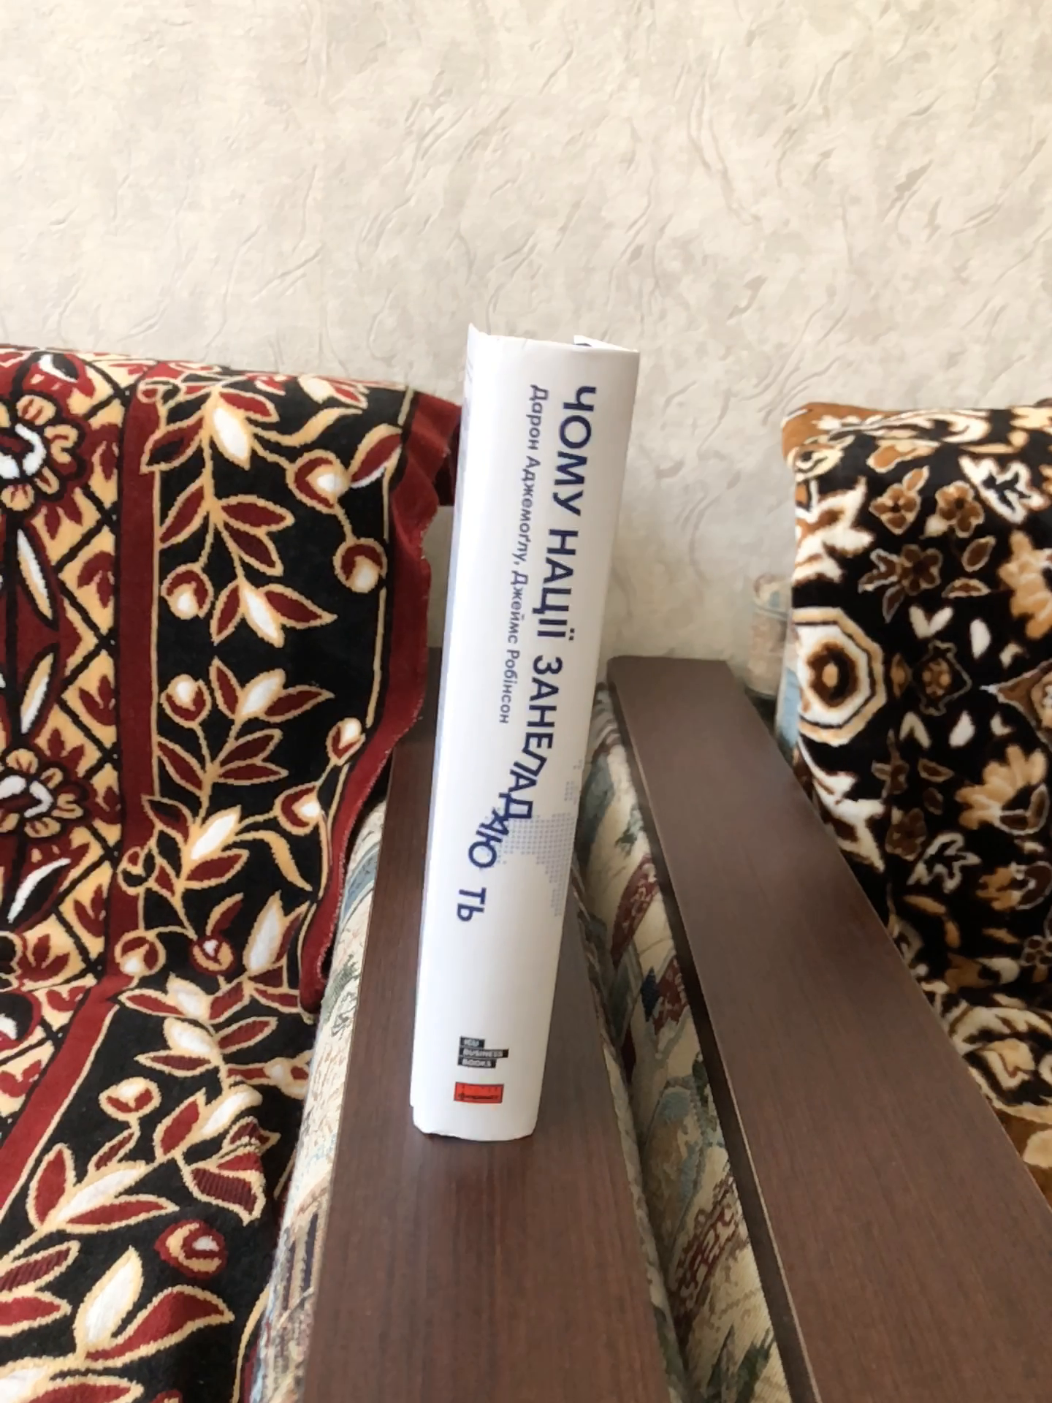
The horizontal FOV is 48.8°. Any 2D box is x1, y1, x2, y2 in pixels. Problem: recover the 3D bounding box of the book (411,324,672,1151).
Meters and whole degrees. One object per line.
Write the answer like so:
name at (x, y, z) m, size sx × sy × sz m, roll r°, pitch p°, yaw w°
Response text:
book at (-0.004, -0.002, 0.359) m, size 0.042 × 0.212 × 0.151 m, roll 5°, pitch 18°, yaw -5°
